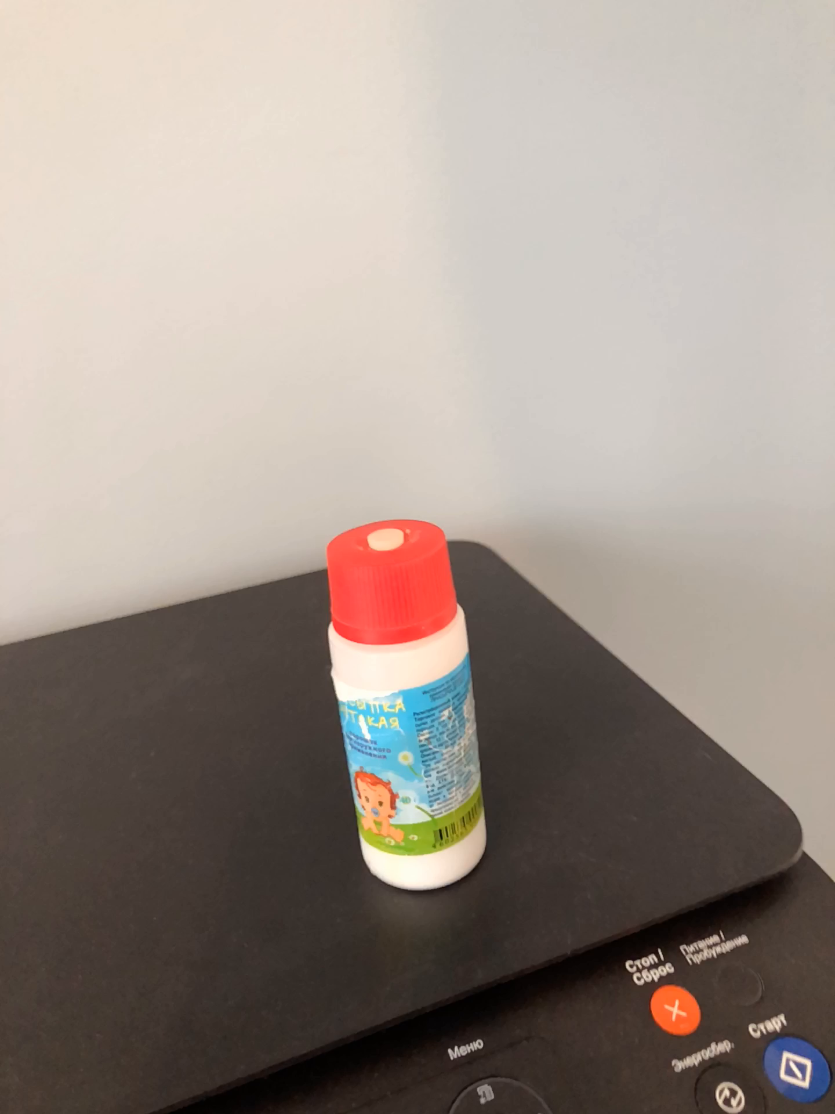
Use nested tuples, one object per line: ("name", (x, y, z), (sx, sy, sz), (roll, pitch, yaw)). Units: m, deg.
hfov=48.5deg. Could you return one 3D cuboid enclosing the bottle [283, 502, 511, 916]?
("bottle", (-0.003, 0.046, 0.289), (0.042, 0.112, 0.044), (-5, 24, 2))
